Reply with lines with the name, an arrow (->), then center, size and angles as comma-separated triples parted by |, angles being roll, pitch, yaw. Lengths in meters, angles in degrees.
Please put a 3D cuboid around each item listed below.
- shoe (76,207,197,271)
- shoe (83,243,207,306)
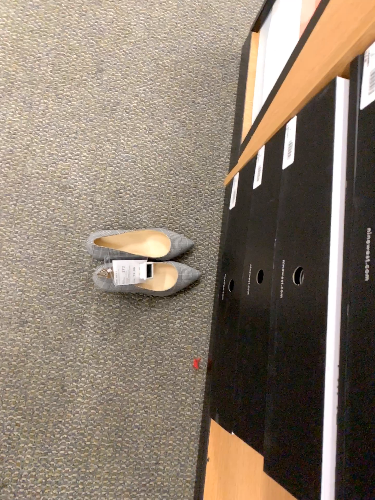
shoe -> -0.114, -0.020, 0.825 | 0.230, 0.150, 0.090 | -6, 81, -14
shoe -> -0.095, 0.055, 0.806 | 0.230, 0.150, 0.090 | -6, 81, -14
